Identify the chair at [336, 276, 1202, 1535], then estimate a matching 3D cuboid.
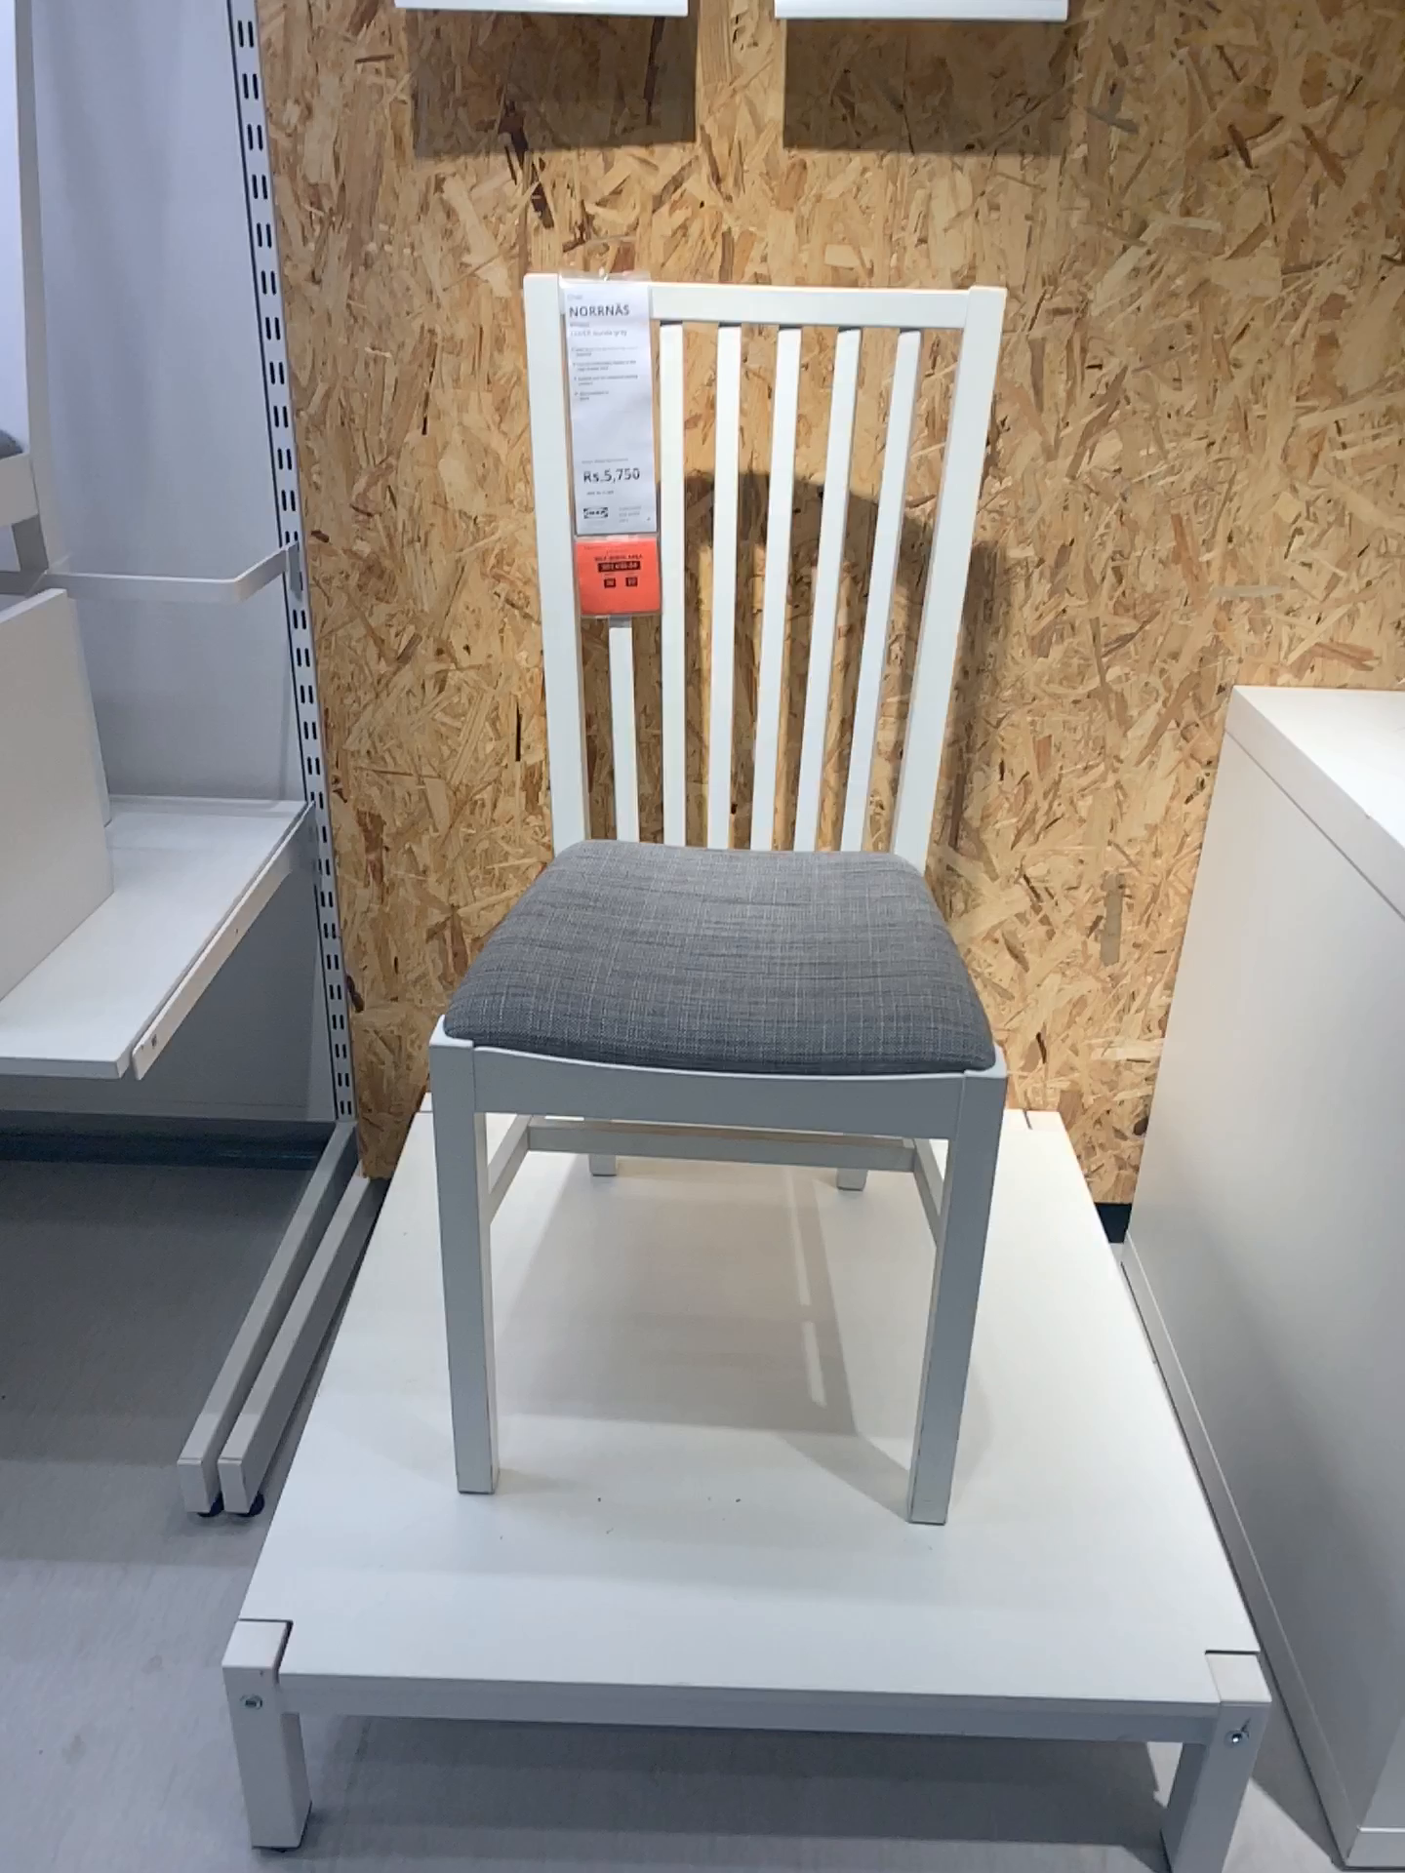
[{"bbox_3d":[0.040,-0.062,1.238,0.470,0.896,0.593,3,26,3],"label":"chair"}]
